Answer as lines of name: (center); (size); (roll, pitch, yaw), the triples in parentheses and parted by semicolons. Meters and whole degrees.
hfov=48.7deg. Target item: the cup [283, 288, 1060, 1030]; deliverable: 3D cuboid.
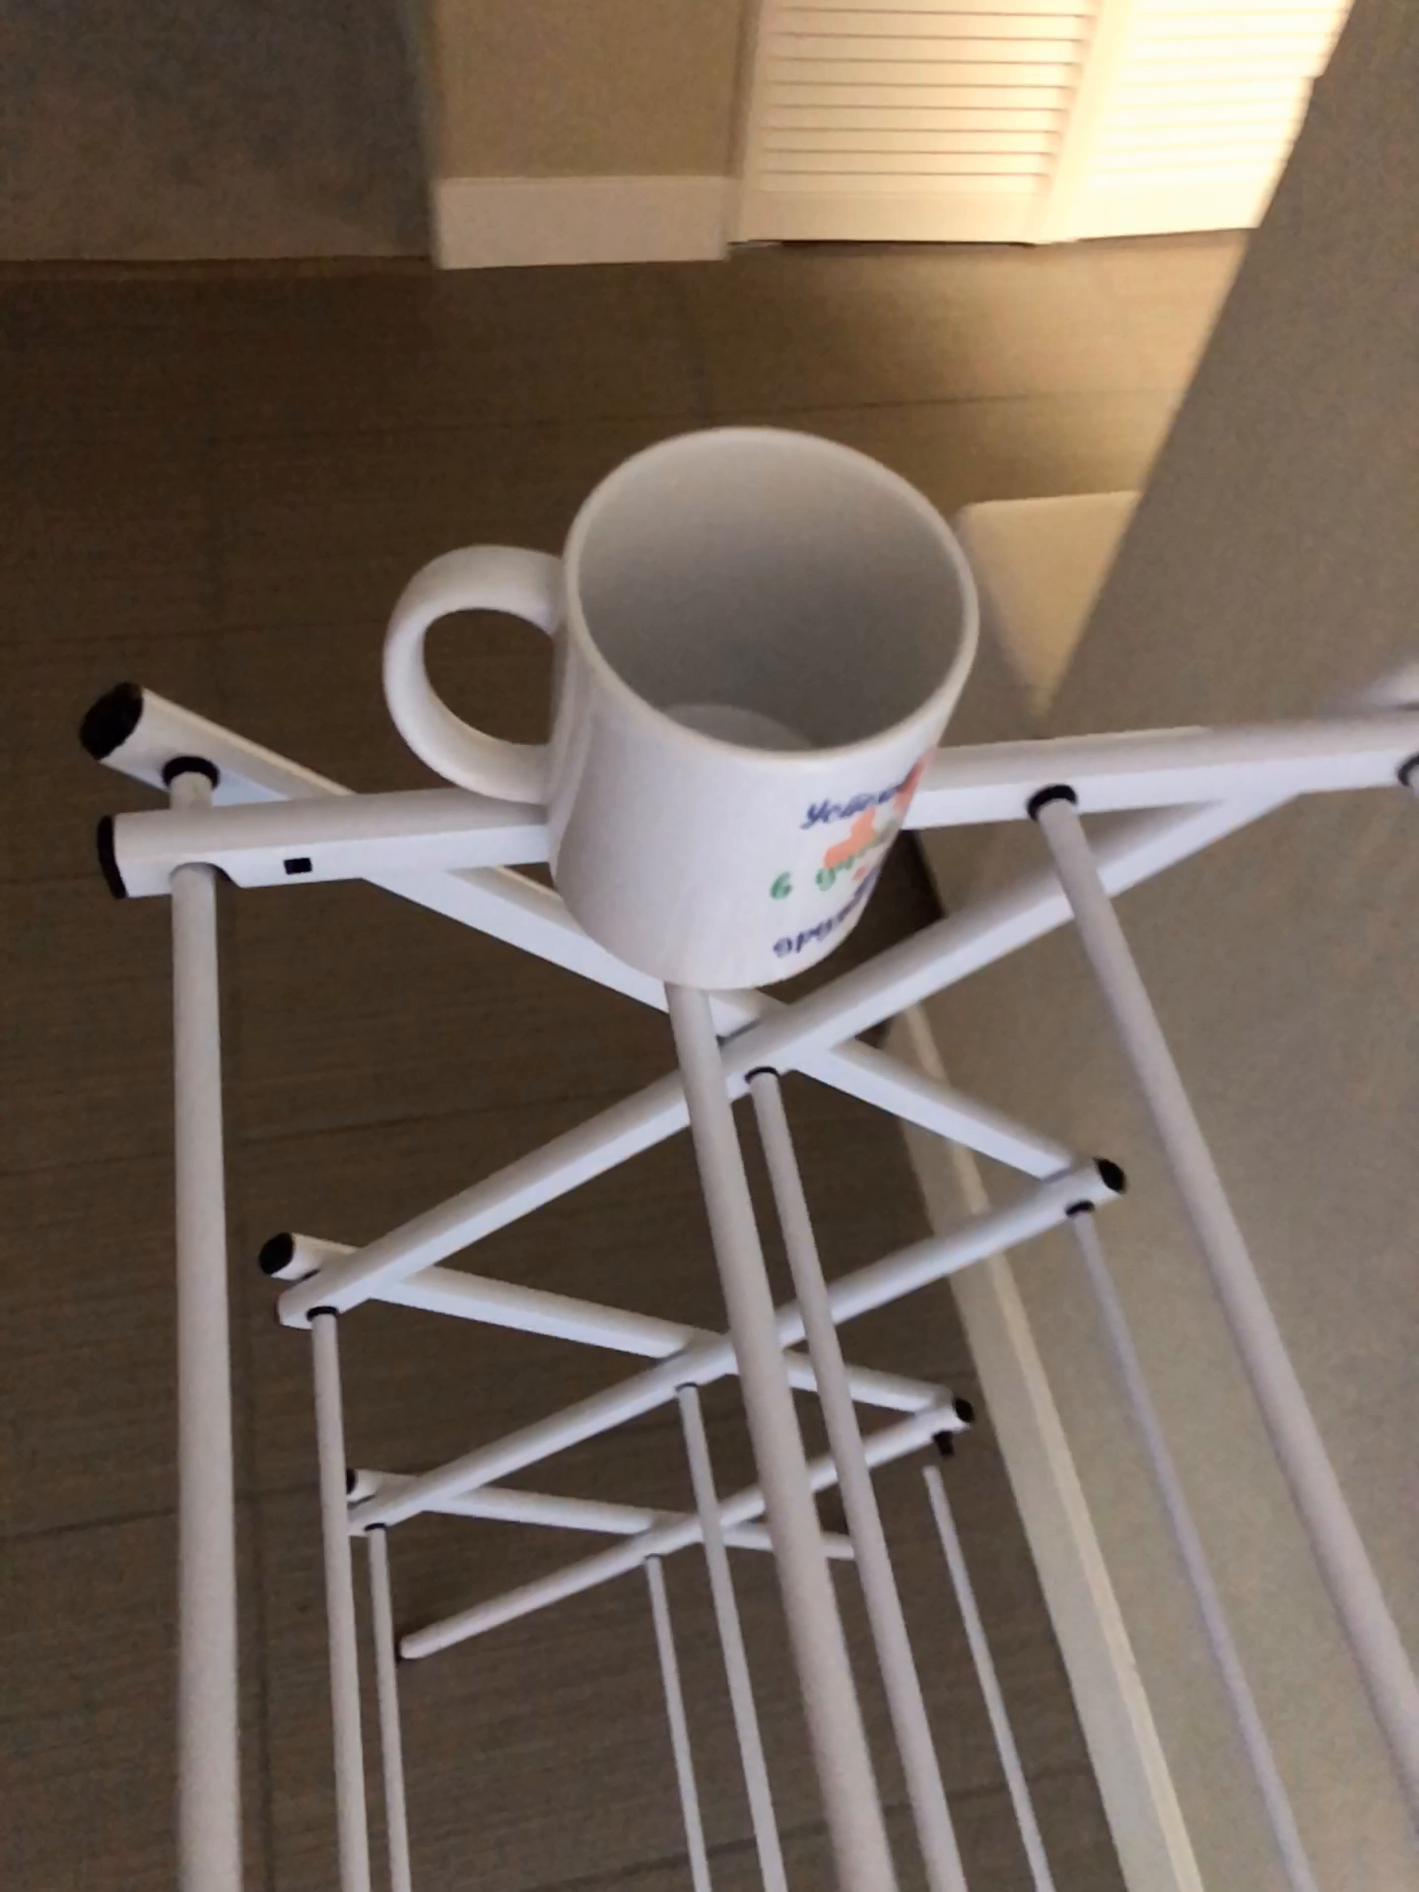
cup: (-0.008, -0.056, 0.332); (0.130, 0.090, 0.090); (14, 61, -2)
